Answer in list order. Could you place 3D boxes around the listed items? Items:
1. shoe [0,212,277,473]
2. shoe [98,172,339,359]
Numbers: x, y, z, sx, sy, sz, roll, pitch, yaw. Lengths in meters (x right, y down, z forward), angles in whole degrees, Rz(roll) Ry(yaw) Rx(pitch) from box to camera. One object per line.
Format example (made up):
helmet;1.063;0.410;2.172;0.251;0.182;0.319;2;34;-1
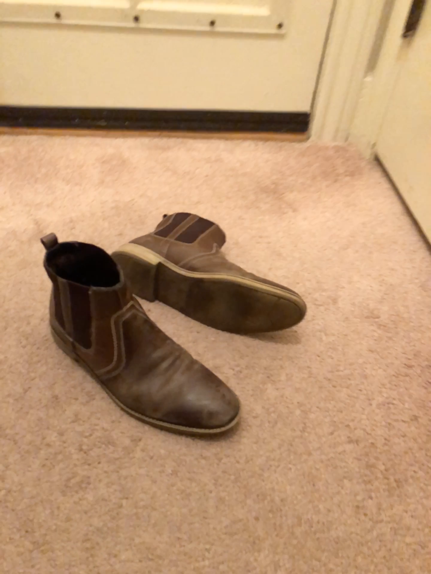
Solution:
shoe;-0.099;0.062;0.589;0.308;0.175;0.116;27;49;20
shoe;0.007;-0.045;0.748;0.313;0.115;0.187;20;48;14
